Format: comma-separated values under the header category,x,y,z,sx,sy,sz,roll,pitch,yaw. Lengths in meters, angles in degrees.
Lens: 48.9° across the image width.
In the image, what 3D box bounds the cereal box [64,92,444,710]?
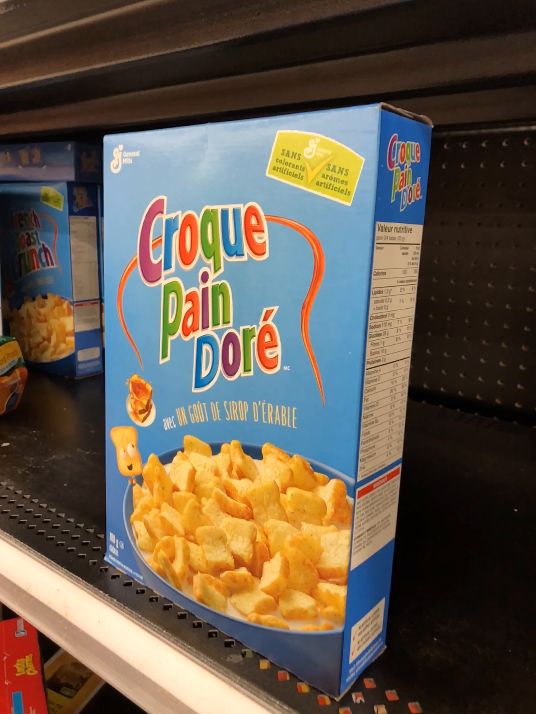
category,x,y,z,sx,sy,sz,roll,pitch,yaw
cereal box,-0.024,0.011,0.335,0.210,0.269,0.060,11,15,38
